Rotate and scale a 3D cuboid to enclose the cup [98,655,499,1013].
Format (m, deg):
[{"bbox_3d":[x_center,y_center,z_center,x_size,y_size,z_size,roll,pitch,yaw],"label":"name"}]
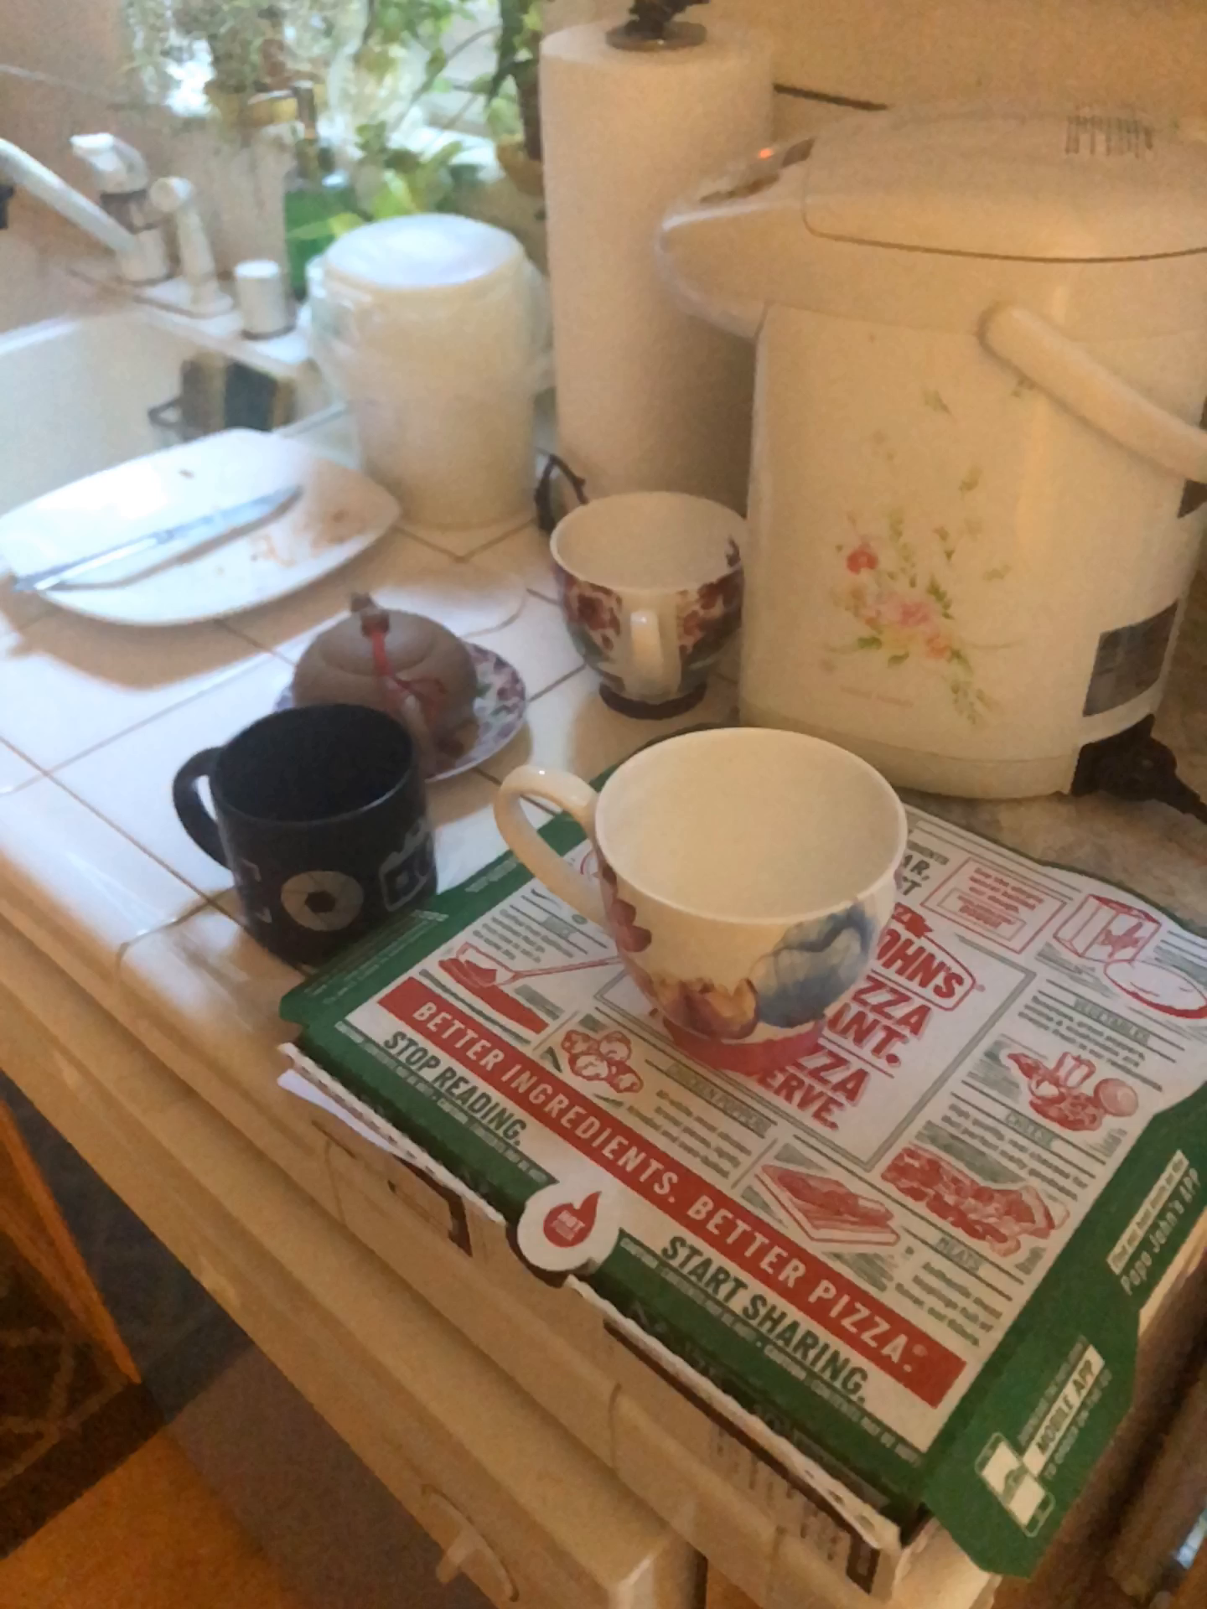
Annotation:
[{"bbox_3d":[-0.135,0.010,0.620,0.140,0.099,0.091,15,42,20],"label":"cup"}]

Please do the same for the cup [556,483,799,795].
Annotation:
[{"bbox_3d":[0.034,-0.094,0.723,0.110,0.089,0.161,-4,39,-2],"label":"cup"}]

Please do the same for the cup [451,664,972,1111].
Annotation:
[{"bbox_3d":[0.041,0.023,0.489,0.150,0.069,0.111,17,43,22],"label":"cup"}]
